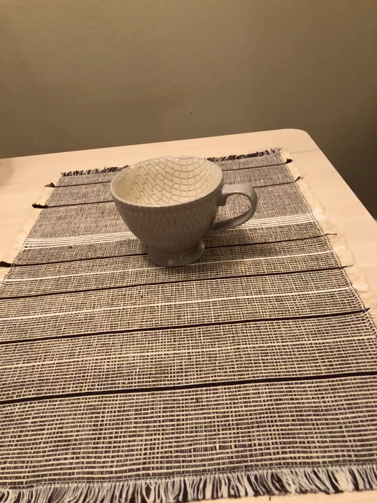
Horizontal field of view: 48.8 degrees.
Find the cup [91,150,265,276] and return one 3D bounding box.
[{"bbox_3d":[0.000,-0.043,0.427,0.150,0.080,0.111,1,35,13],"label":"cup"}]
